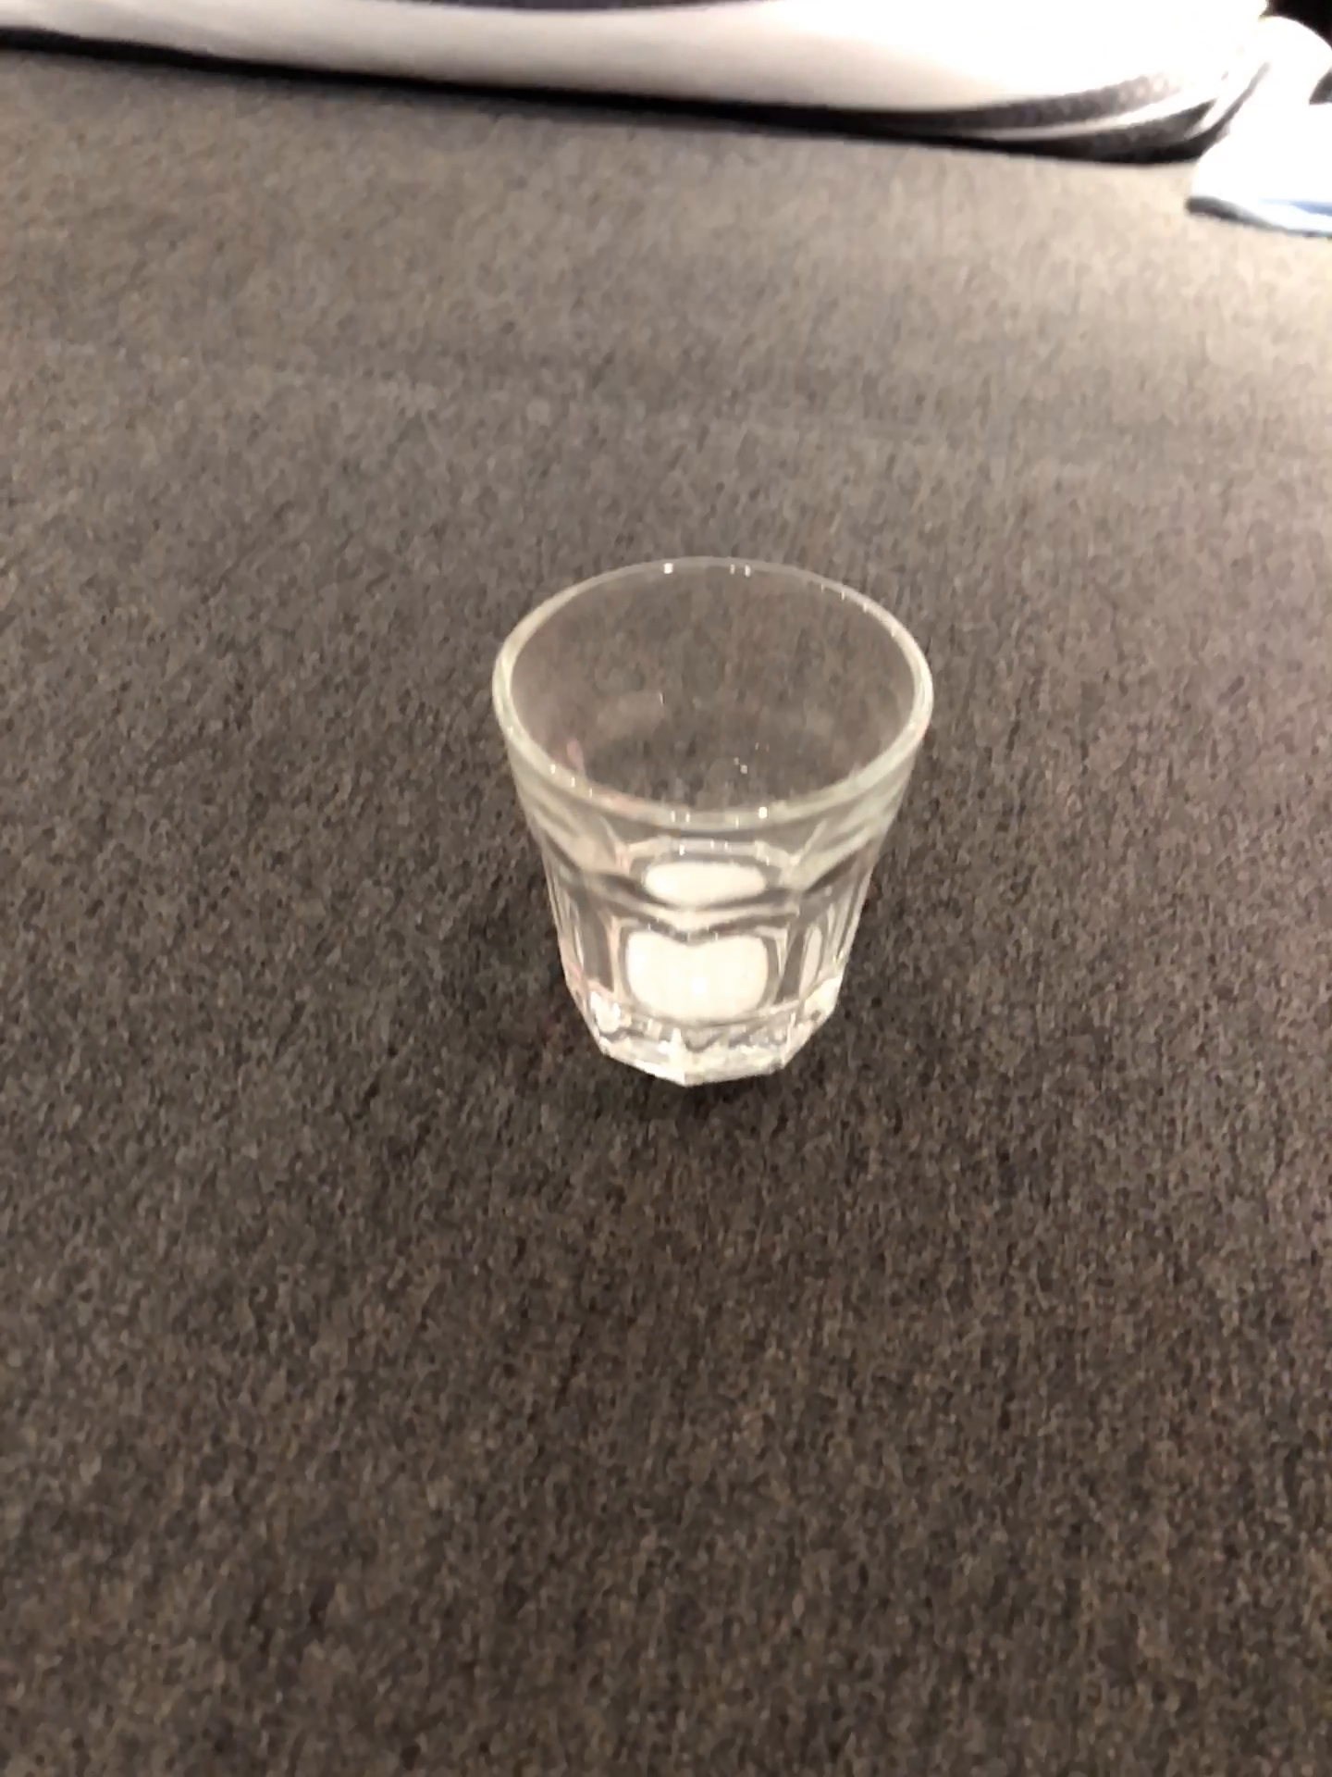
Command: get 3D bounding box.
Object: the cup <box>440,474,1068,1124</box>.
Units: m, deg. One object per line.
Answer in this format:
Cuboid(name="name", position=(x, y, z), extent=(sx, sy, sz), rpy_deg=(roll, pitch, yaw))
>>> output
Cuboid(name="cup", position=(0.006, -0.014, 0.189), extent=(0.060, 0.050, 0.060), rpy_deg=(1, 41, -1))
